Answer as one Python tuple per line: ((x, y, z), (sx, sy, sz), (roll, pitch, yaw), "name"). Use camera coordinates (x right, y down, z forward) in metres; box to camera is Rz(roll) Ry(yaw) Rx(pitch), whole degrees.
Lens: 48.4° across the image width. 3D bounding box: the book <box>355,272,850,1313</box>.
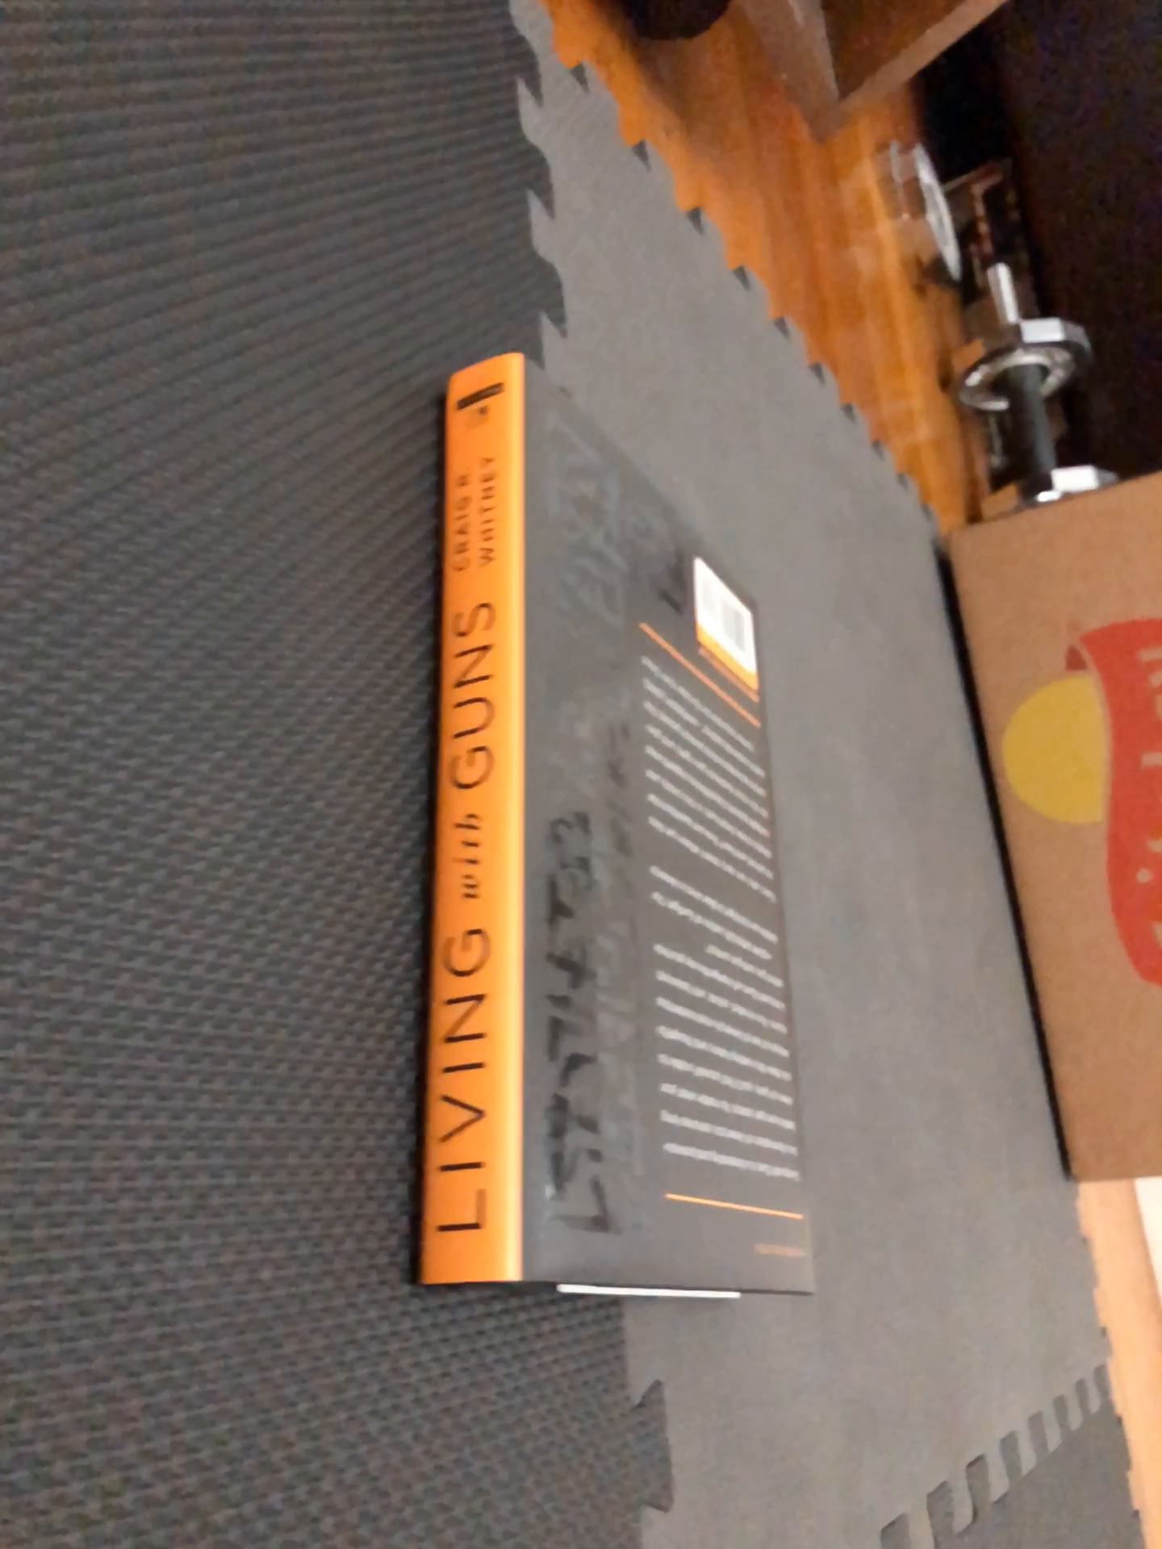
((0.013, 0.014, 0.376), (0.171, 0.040, 0.260), (33, 49, -51), "book")
